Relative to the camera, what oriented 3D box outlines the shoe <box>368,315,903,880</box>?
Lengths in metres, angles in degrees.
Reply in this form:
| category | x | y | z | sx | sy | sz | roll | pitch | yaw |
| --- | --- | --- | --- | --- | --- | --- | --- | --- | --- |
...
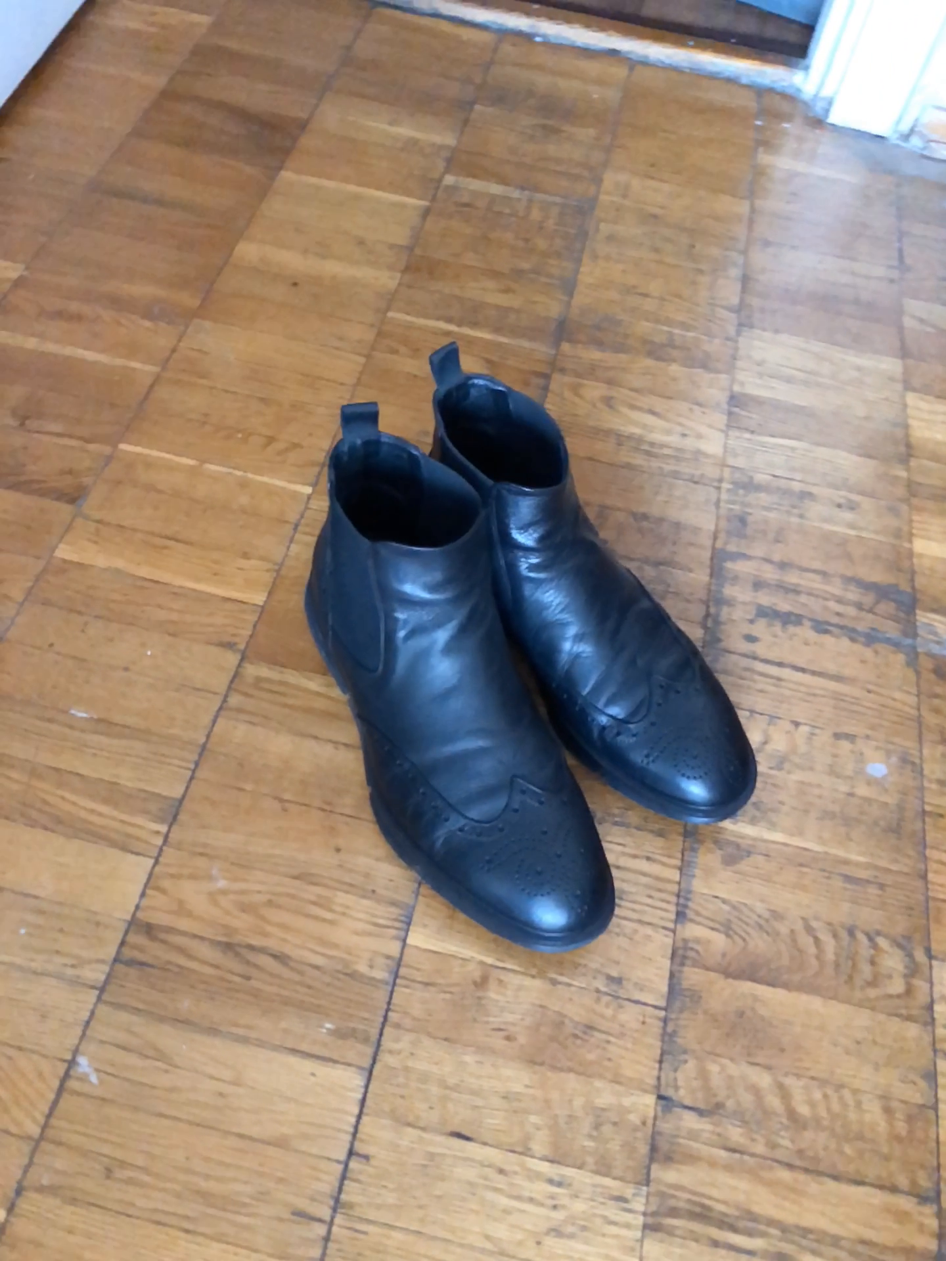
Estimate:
| category | x | y | z | sx | sy | sz | roll | pitch | yaw |
| --- | --- | --- | --- | --- | --- | --- | --- | --- | --- |
| shoe | 0.071 | -0.027 | 0.609 | 0.110 | 0.139 | 0.301 | -31 | 64 | -24 |

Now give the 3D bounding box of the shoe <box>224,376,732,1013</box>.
| category | x | y | z | sx | sy | sz | roll | pitch | yaw |
| --- | --- | --- | --- | --- | --- | --- | --- | --- | --- |
| shoe | -0.016 | 0.025 | 0.562 | 0.110 | 0.139 | 0.301 | -24 | 61 | -21 |
